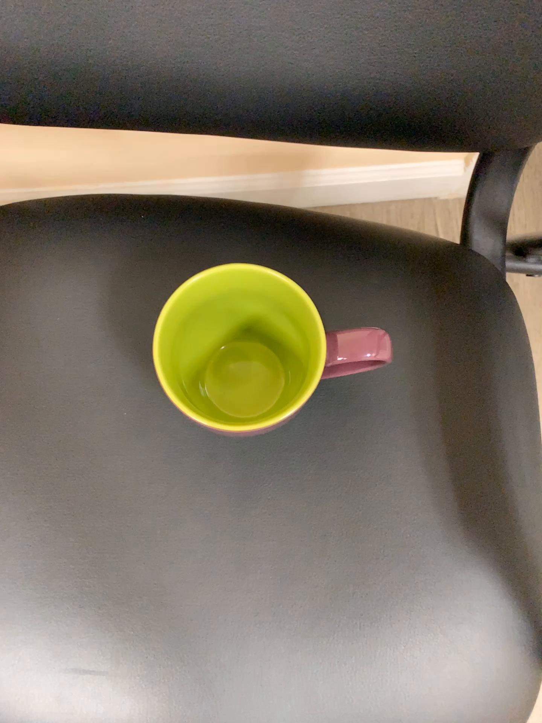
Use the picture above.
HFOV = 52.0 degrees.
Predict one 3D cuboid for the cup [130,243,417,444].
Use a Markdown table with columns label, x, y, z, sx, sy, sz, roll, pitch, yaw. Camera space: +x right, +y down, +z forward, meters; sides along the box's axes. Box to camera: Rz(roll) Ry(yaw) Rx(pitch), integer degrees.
| label | x | y | z | sx | sy | sz | roll | pitch | yaw |
| --- | --- | --- | --- | --- | --- | --- | --- | --- | --- |
| cup | -0.001 | -0.004 | 0.350 | 0.143 | 0.109 | 0.090 | -7 | 80 | -3 |
